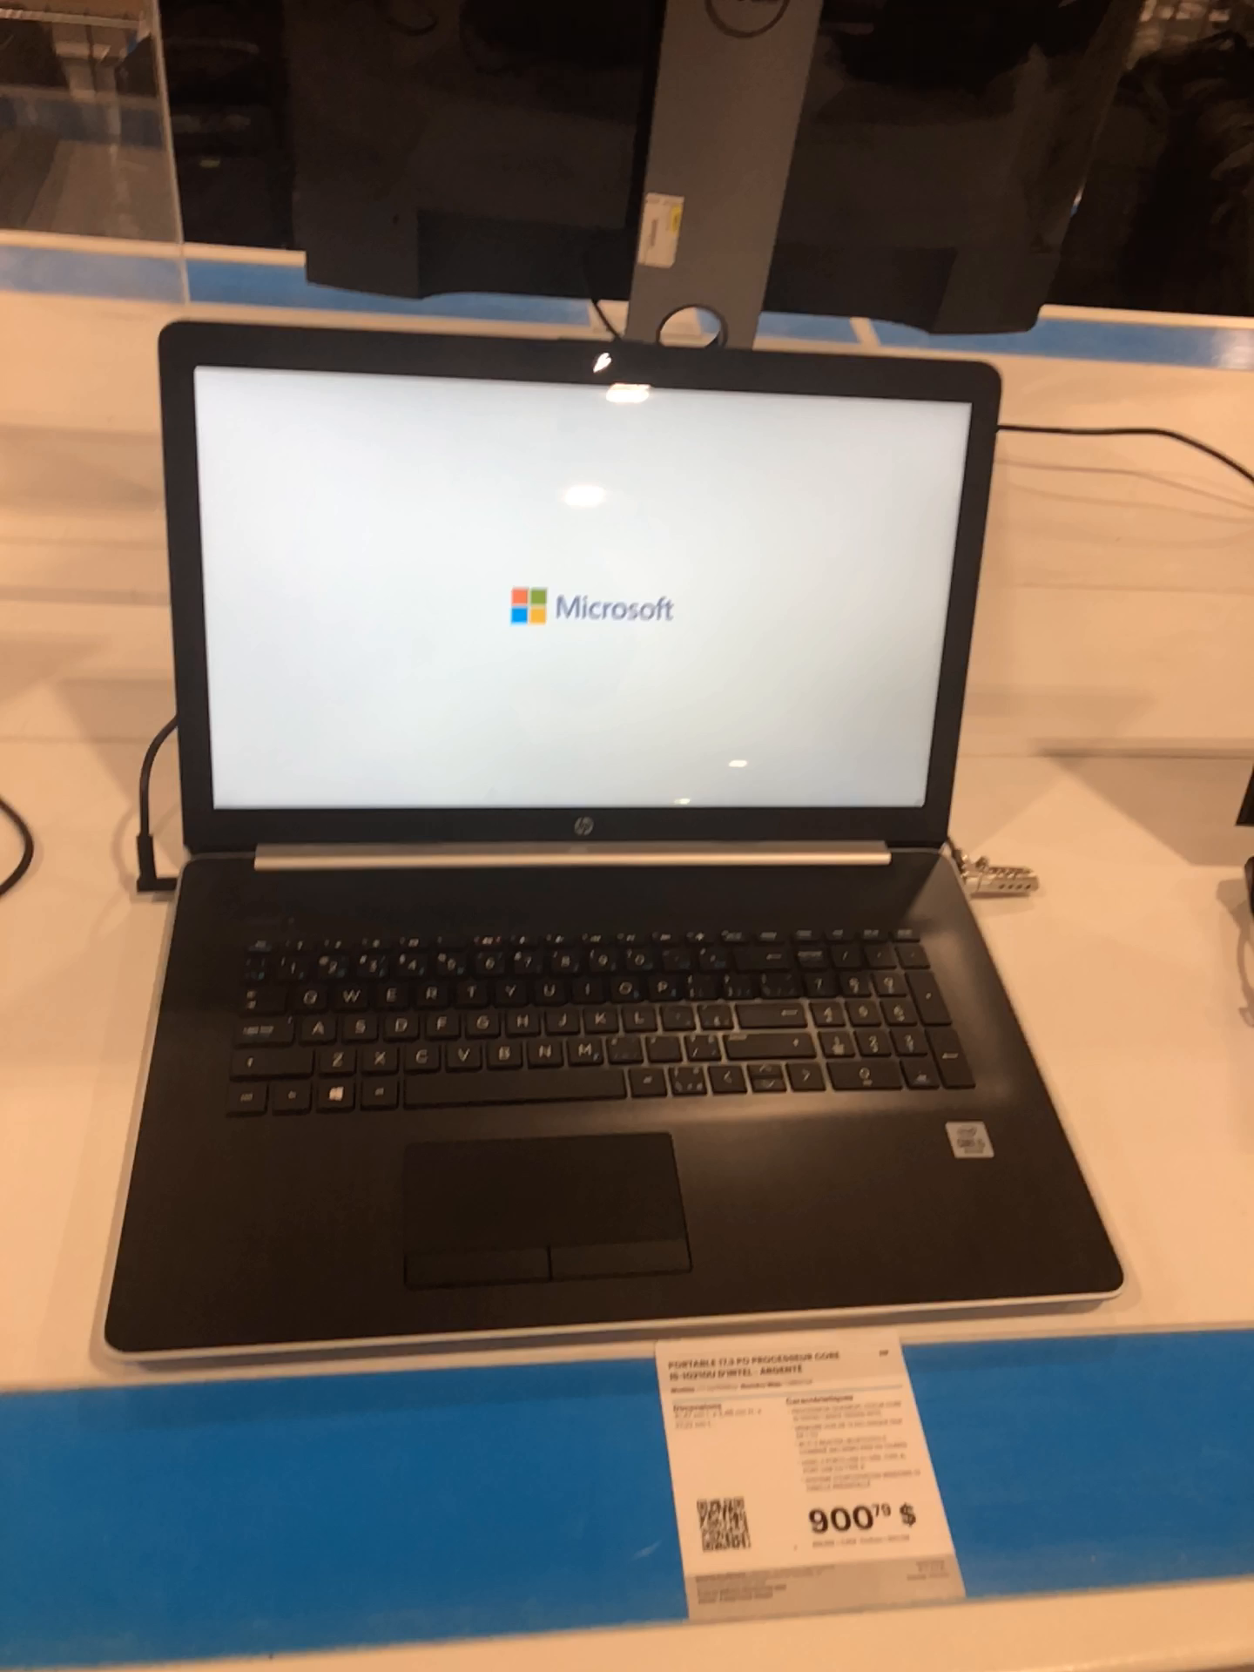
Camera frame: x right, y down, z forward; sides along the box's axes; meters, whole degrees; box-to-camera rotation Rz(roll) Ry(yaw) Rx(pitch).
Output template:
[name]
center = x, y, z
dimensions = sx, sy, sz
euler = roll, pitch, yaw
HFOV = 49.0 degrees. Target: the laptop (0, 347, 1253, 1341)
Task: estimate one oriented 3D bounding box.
[laptop]
center = -0.005, -0.019, 0.618
dimensions = 0.411, 0.242, 0.382
euler = 0, 41, -9
